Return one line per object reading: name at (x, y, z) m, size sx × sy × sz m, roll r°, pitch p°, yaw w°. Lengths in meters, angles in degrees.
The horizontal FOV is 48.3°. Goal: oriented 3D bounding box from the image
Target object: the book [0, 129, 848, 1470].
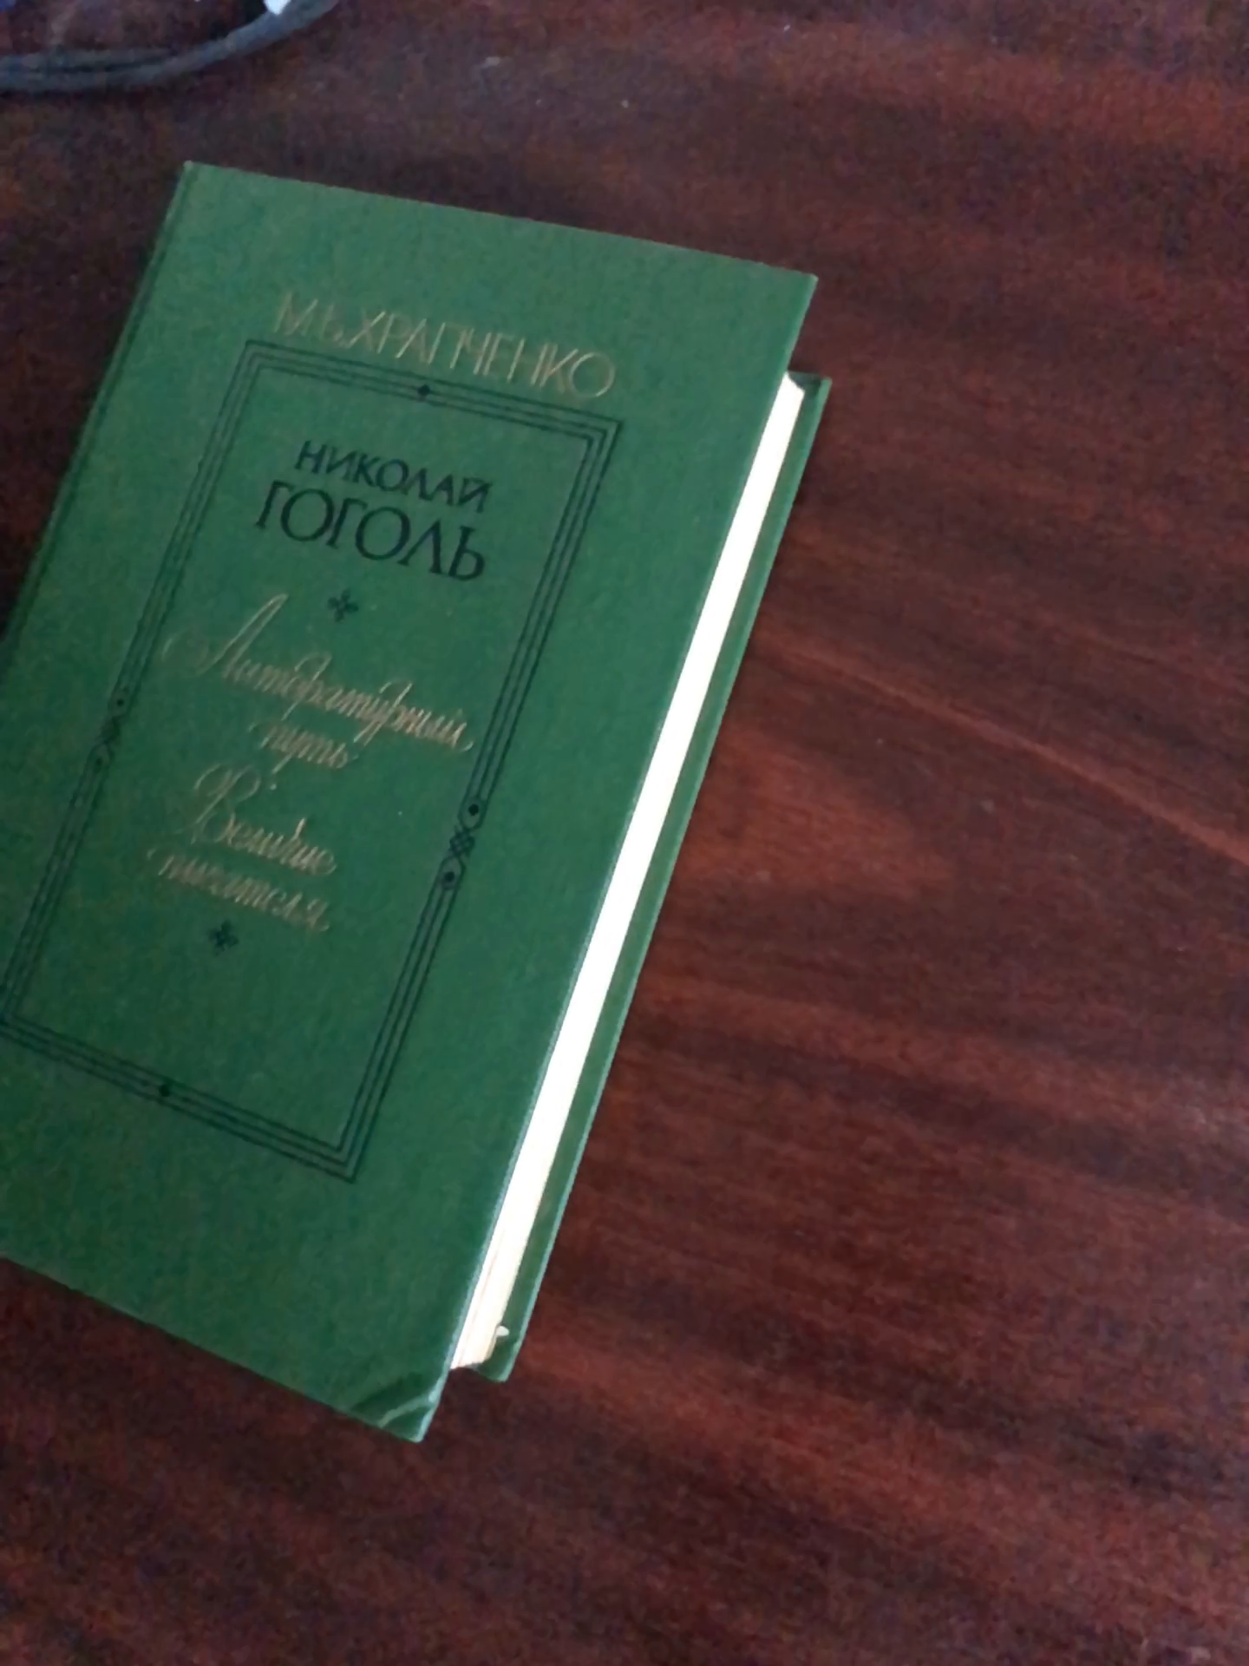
book at (-0.053, -0.015, 0.261) m, size 0.129 × 0.050 × 0.206 m, roll 16°, pitch 83°, yaw 16°
